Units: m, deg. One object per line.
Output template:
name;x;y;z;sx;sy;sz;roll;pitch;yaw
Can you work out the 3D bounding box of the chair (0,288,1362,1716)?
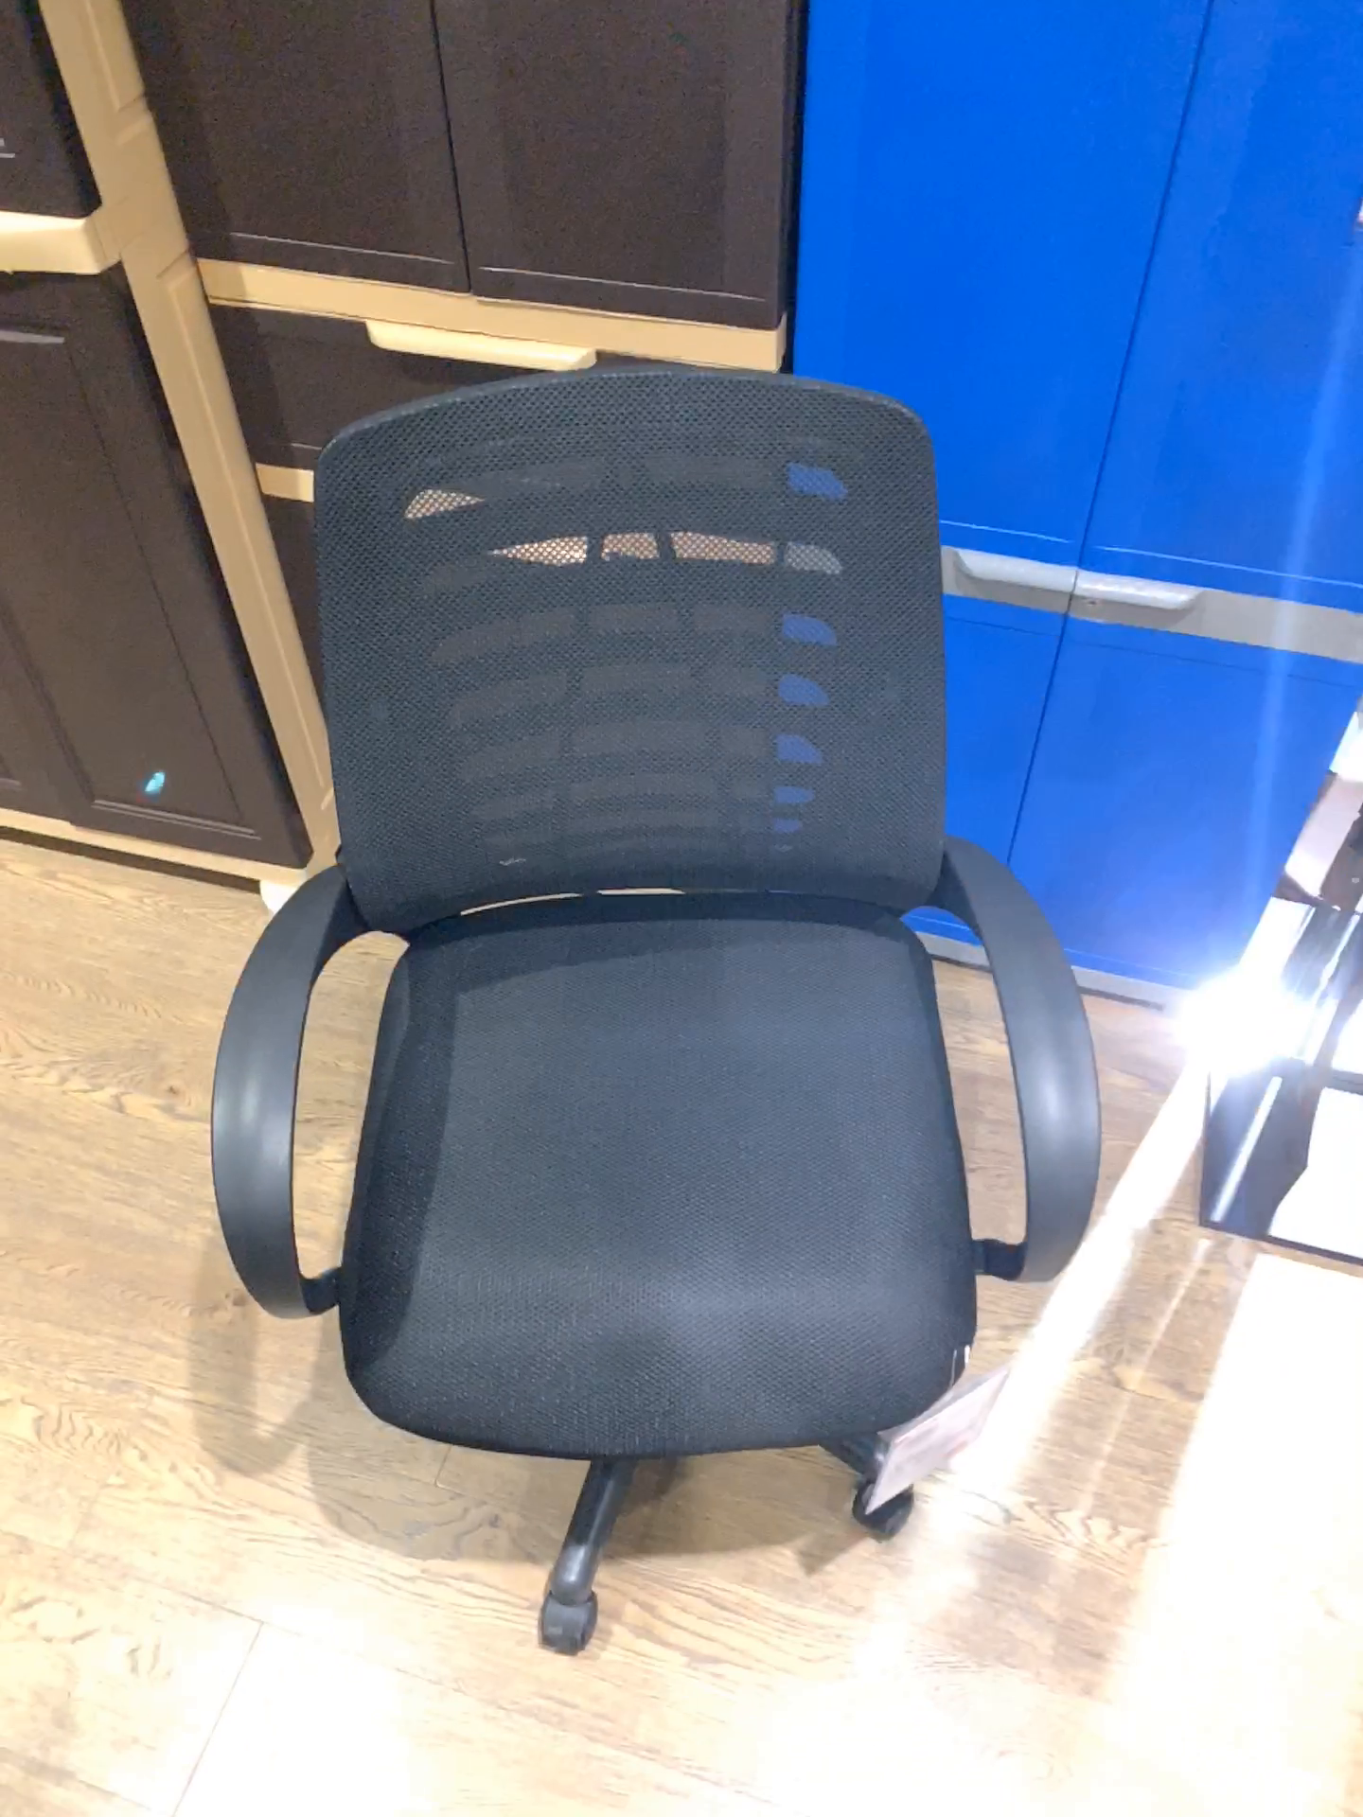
chair;-0.054;0.166;1.058;0.600;0.997;0.602;-1;49;1
